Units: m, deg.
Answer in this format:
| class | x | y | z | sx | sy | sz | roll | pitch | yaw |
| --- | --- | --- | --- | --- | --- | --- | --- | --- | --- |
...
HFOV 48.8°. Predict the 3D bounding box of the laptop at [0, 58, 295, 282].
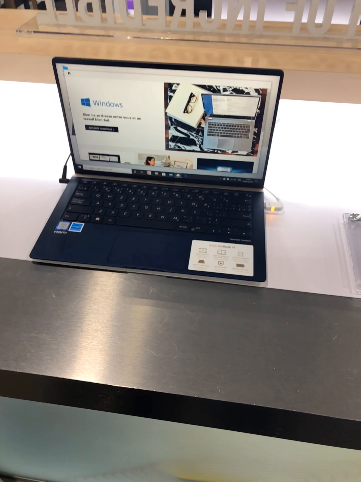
| class | x | y | z | sx | sy | sz | roll | pitch | yaw |
| --- | --- | --- | --- | --- | --- | --- | --- | --- | --- |
| laptop | -0.034 | -0.094 | 0.504 | 0.301 | 0.182 | 0.192 | 5 | 44 | 4 |
